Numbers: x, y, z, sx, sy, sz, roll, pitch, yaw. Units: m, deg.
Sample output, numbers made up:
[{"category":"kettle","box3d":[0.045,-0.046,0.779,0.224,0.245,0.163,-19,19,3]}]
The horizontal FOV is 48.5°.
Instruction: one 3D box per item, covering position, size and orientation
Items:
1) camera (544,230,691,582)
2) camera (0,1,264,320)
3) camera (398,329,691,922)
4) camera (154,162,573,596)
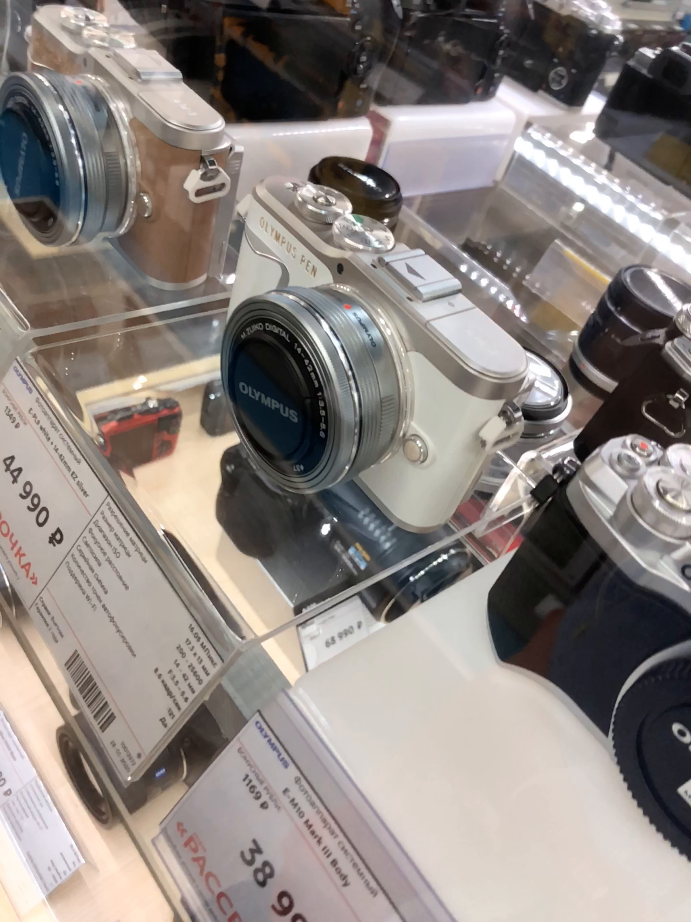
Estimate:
[{"category":"camera","box3d":[0.147,-0.026,0.279,0.115,0.072,0.072,-22,57,-38]},{"category":"camera","box3d":[-0.087,-0.113,0.285,0.061,0.072,0.087,-24,58,-38]},{"category":"camera","box3d":[0.078,0.039,0.168,0.053,0.072,0.114,-23,57,-38]},{"category":"camera","box3d":[-0.003,-0.031,0.239,0.053,0.070,0.114,-23,57,-38]}]
